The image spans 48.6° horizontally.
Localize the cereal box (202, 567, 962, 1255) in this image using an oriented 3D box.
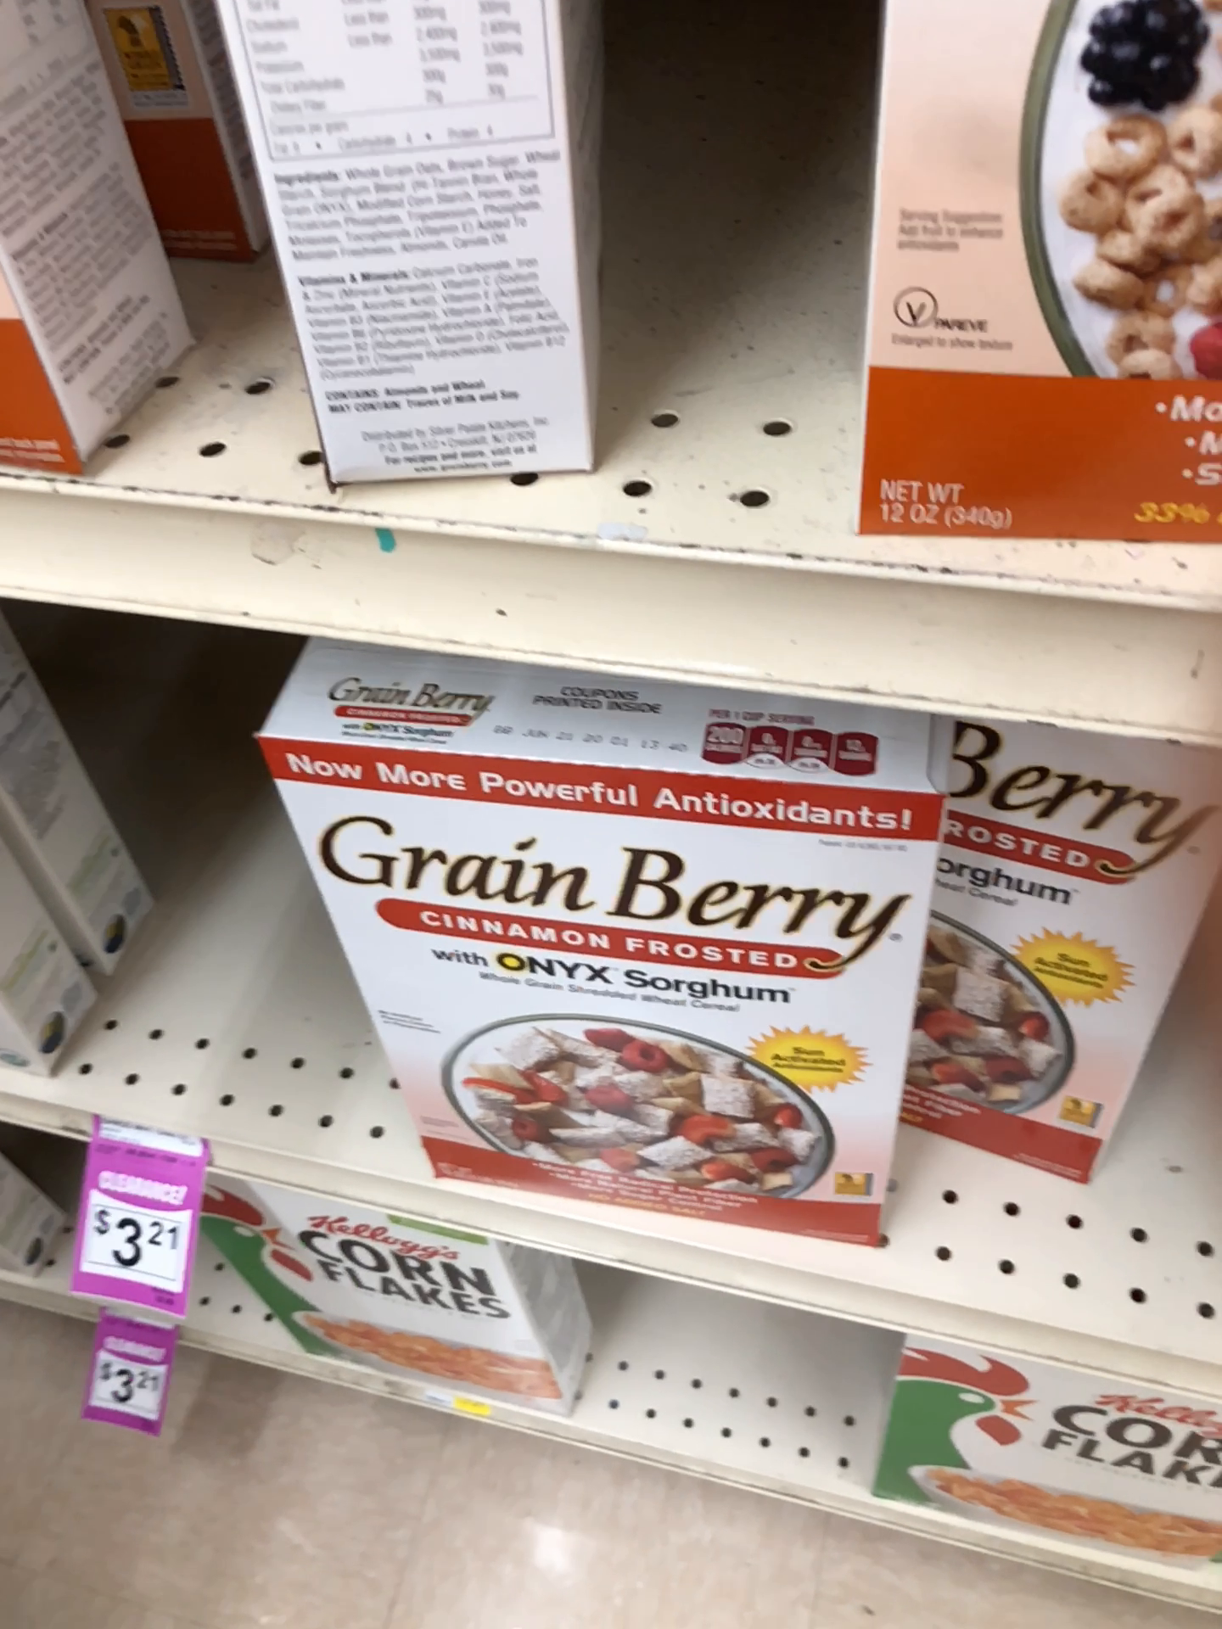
[{"bbox_3d":[0.004,0.051,0.480,0.200,0.280,0.070,6,51,11],"label":"cereal box"}]
